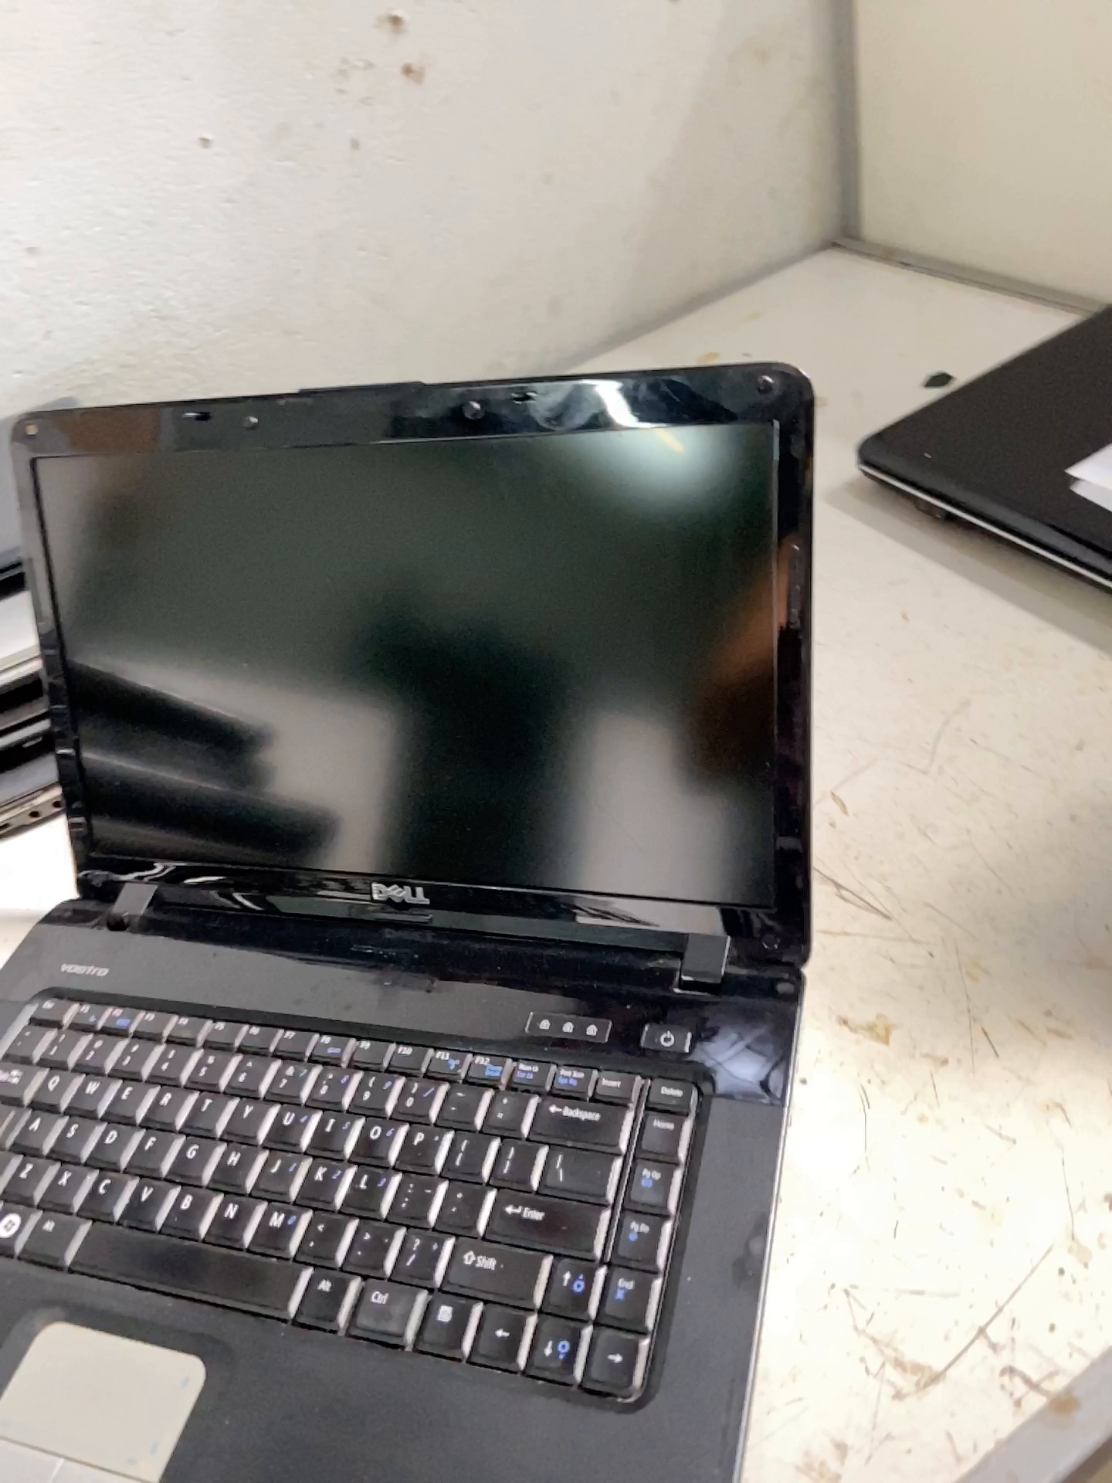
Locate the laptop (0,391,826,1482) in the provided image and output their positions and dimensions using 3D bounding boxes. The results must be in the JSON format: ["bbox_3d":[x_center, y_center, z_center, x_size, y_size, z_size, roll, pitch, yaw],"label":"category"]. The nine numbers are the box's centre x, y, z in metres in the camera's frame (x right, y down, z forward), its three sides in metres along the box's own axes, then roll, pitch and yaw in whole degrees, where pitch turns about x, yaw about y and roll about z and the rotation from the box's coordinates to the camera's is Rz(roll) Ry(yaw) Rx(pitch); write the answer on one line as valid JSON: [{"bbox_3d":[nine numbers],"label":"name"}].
[{"bbox_3d":[-0.113,0.059,0.410,0.365,0.203,0.354,1,40,19],"label":"laptop"}]
